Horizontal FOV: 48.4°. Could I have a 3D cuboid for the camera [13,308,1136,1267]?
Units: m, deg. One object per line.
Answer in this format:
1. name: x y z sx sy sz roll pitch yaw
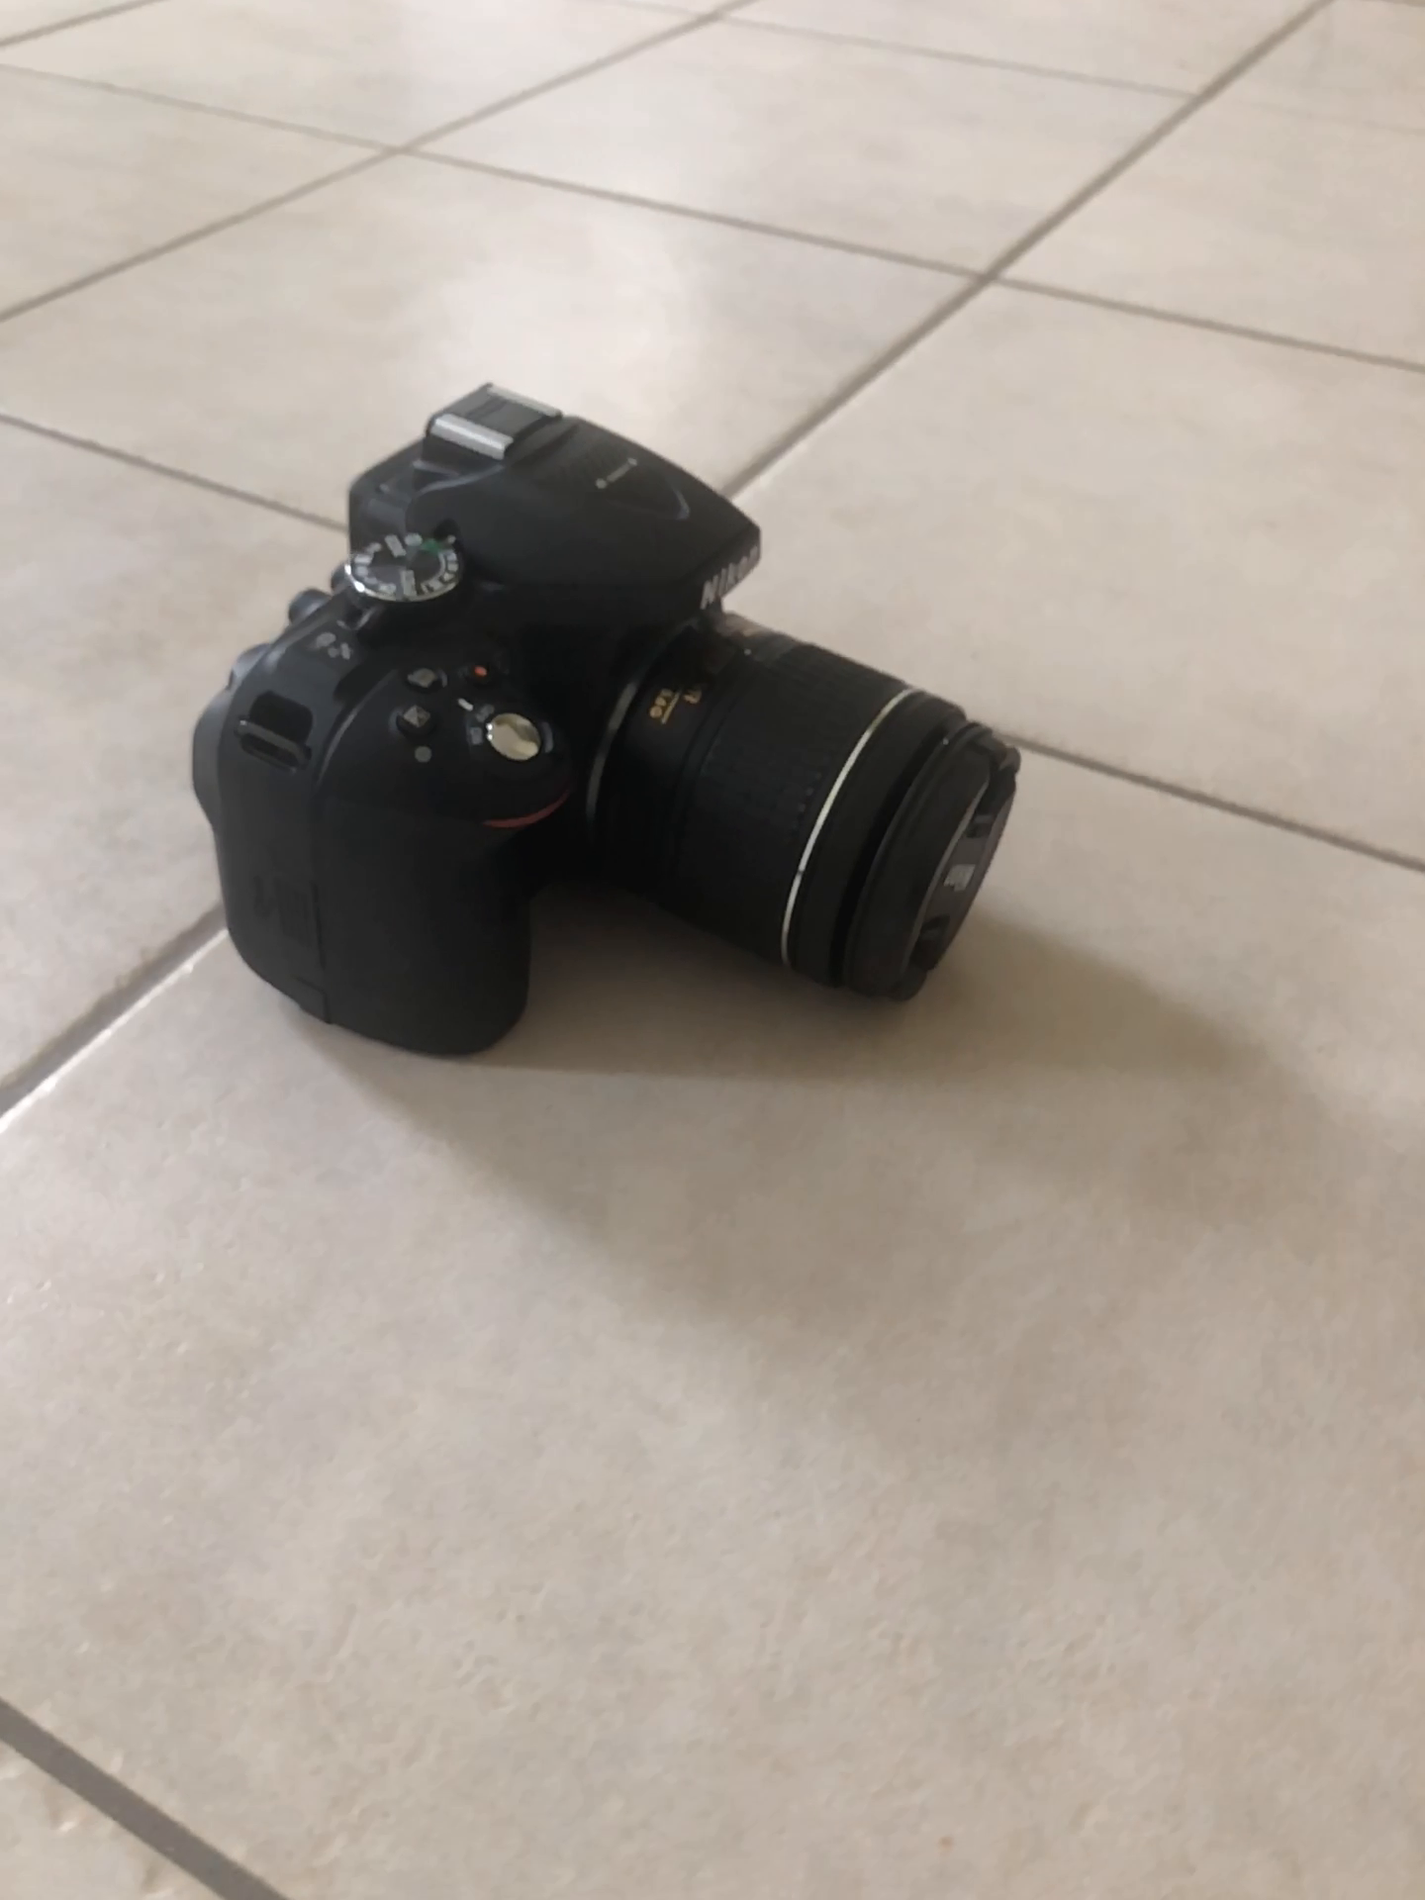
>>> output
1. camera: -0.022 -0.046 0.330 0.160 0.089 0.141 24 47 19
